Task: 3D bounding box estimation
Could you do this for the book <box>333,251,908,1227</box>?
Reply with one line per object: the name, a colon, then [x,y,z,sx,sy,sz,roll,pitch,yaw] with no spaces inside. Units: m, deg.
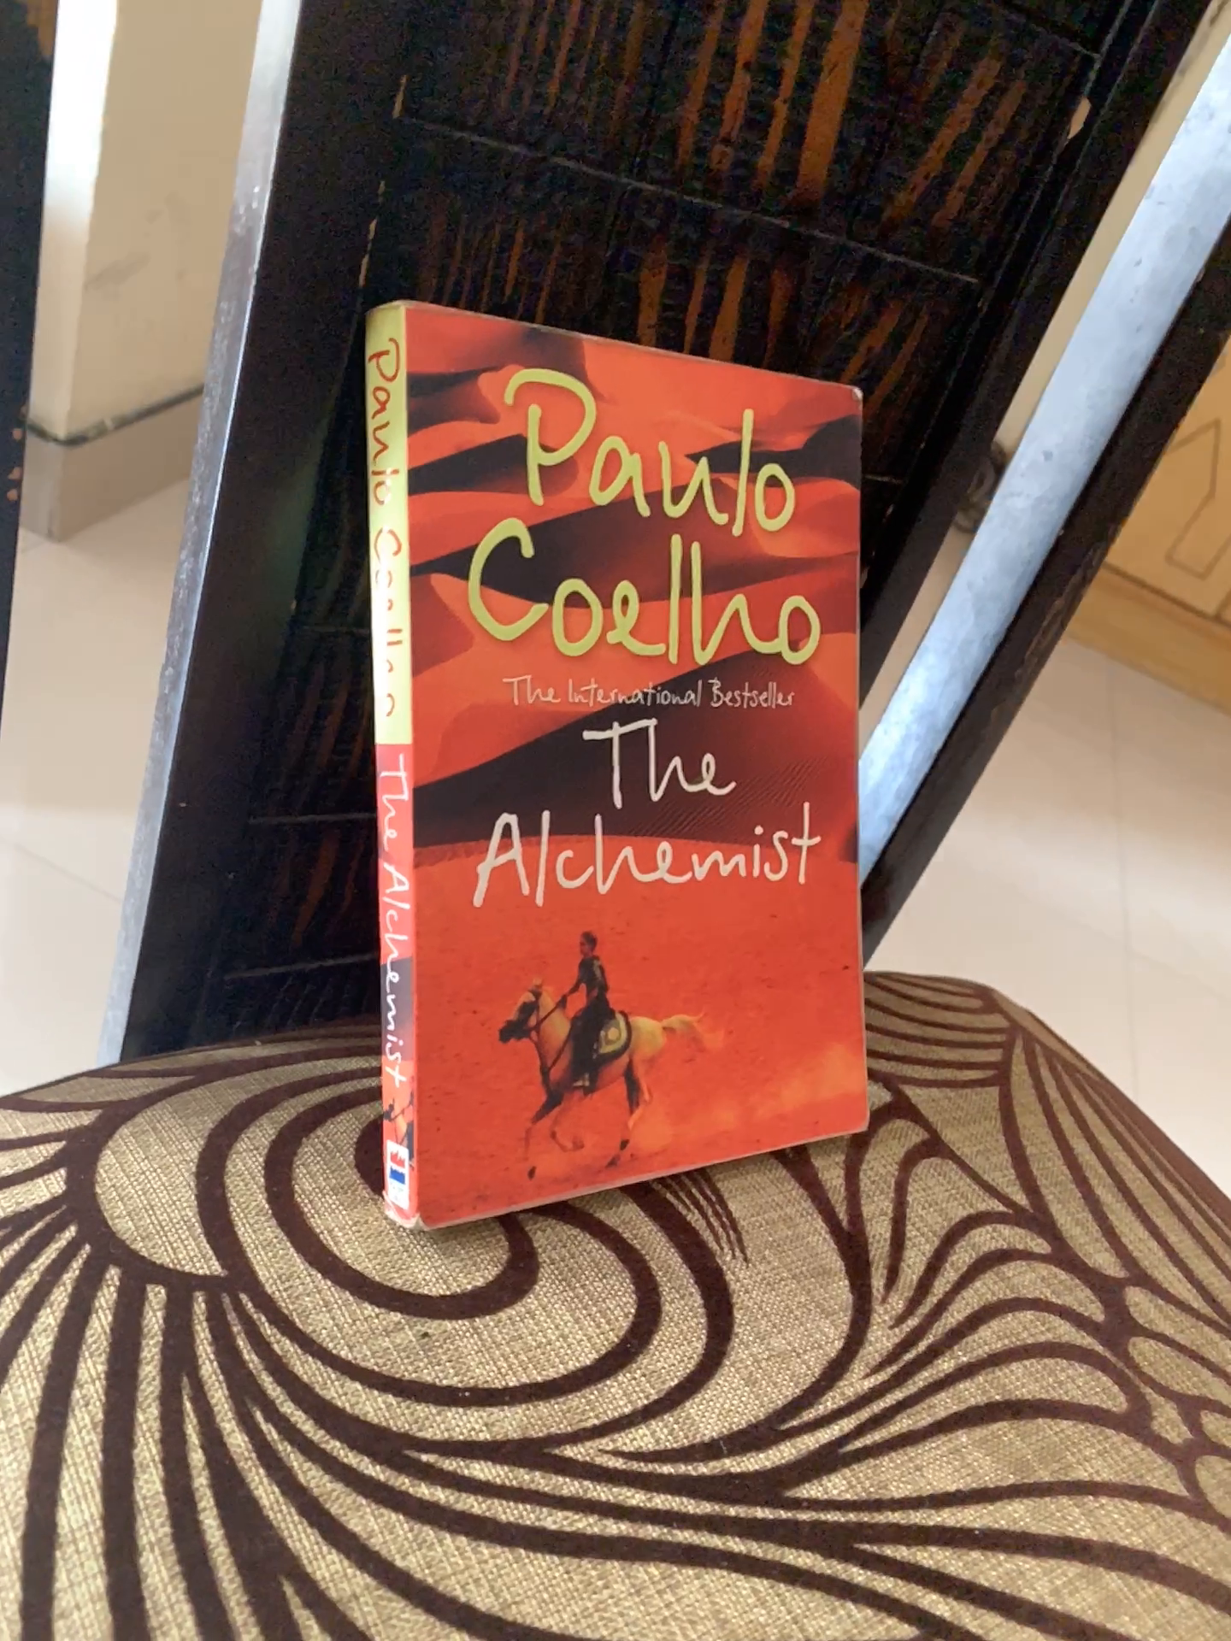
book: [0.007,-0.019,0.312,0.140,0.200,0.030,-2,-1,-33]
